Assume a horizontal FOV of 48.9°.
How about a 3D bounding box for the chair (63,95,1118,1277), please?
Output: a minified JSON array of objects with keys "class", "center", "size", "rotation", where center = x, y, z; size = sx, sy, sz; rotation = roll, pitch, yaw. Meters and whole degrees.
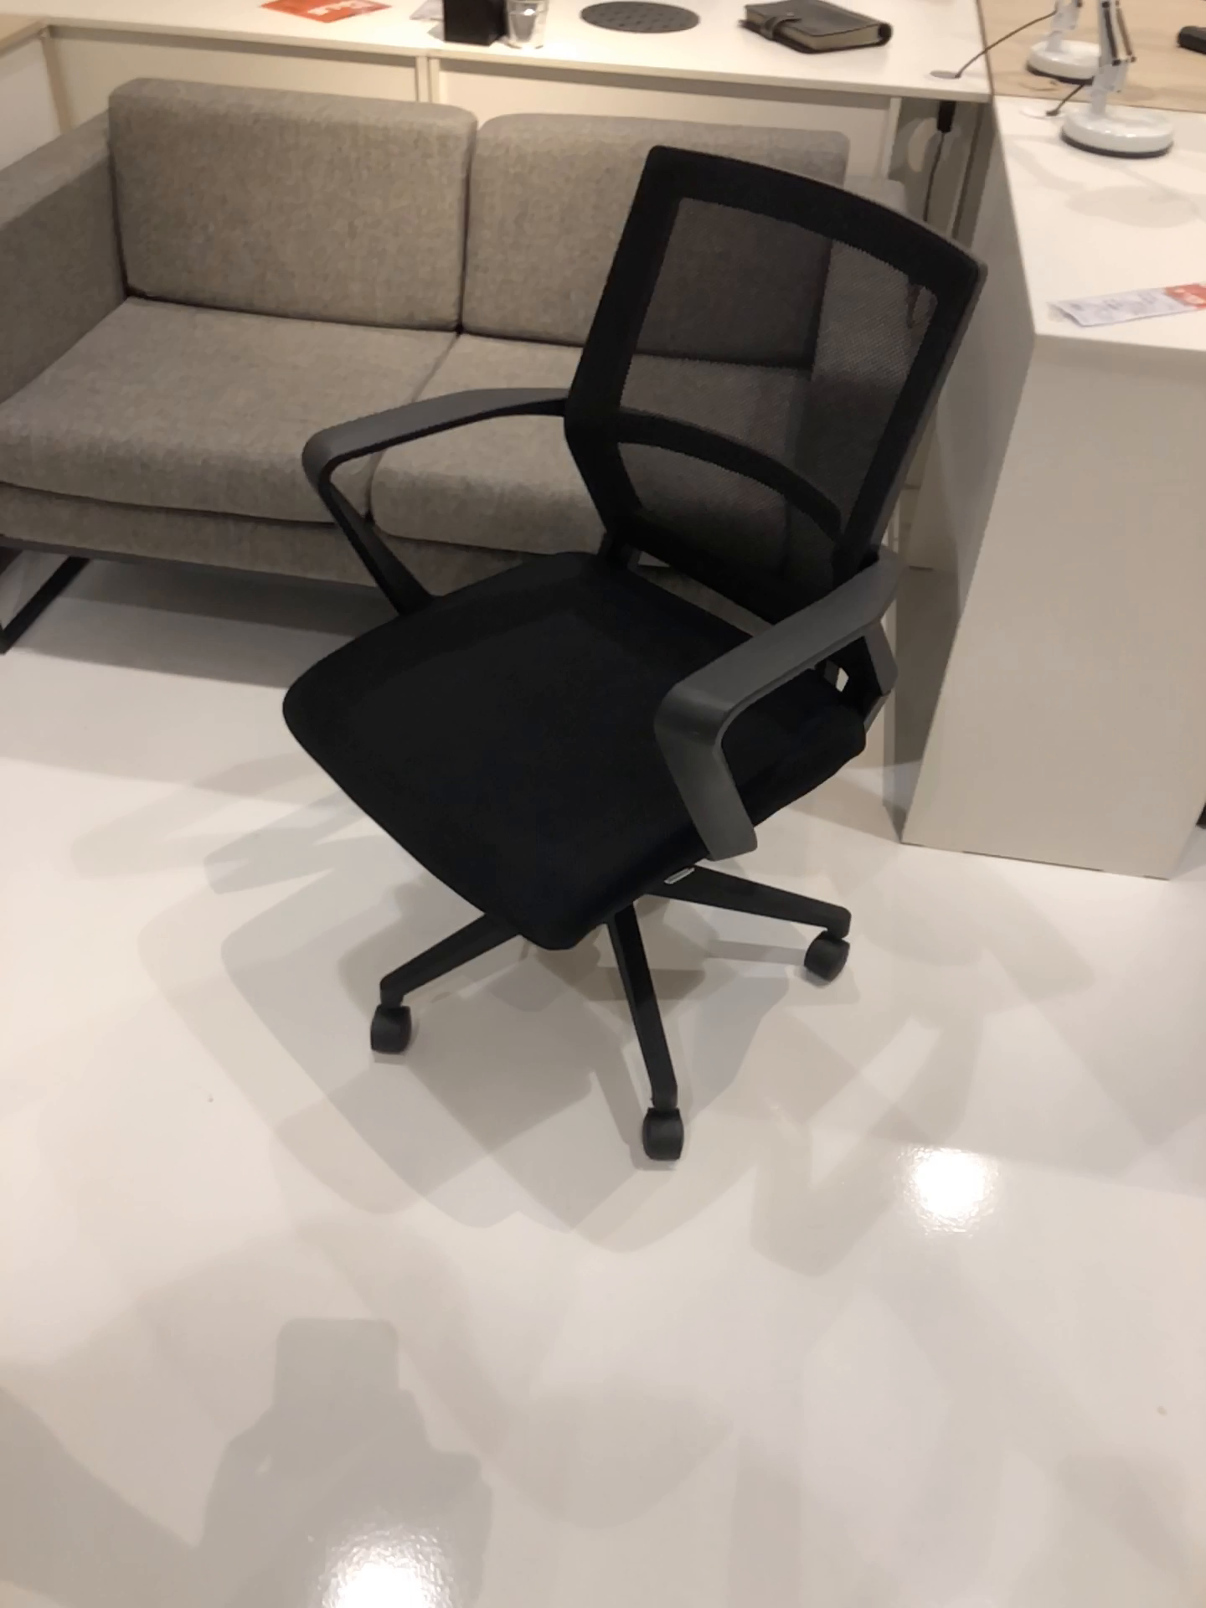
[{"class":"chair","center":[-0.033,-0.146,1.473],"size":[0.632,0.933,0.682],"rotation":[-31,52,-31]}]
